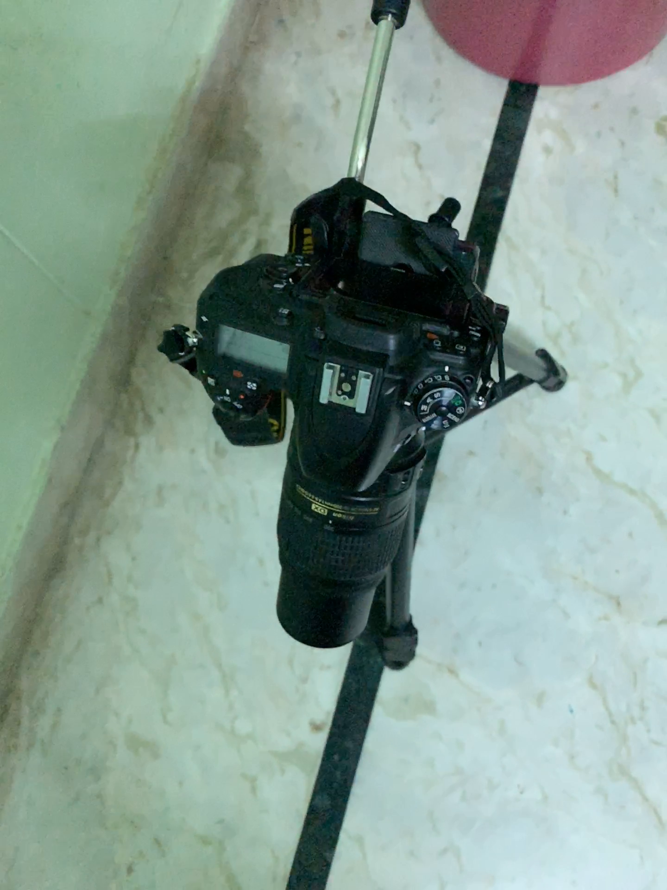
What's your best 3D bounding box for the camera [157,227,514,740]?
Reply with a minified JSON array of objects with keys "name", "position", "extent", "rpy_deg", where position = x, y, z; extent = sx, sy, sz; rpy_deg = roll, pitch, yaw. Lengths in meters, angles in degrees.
[{"name":"camera","position":[-0.004,0.021,0.361],"extent":[0.130,0.214,0.116],"rpy_deg":[16,34,8]}]
